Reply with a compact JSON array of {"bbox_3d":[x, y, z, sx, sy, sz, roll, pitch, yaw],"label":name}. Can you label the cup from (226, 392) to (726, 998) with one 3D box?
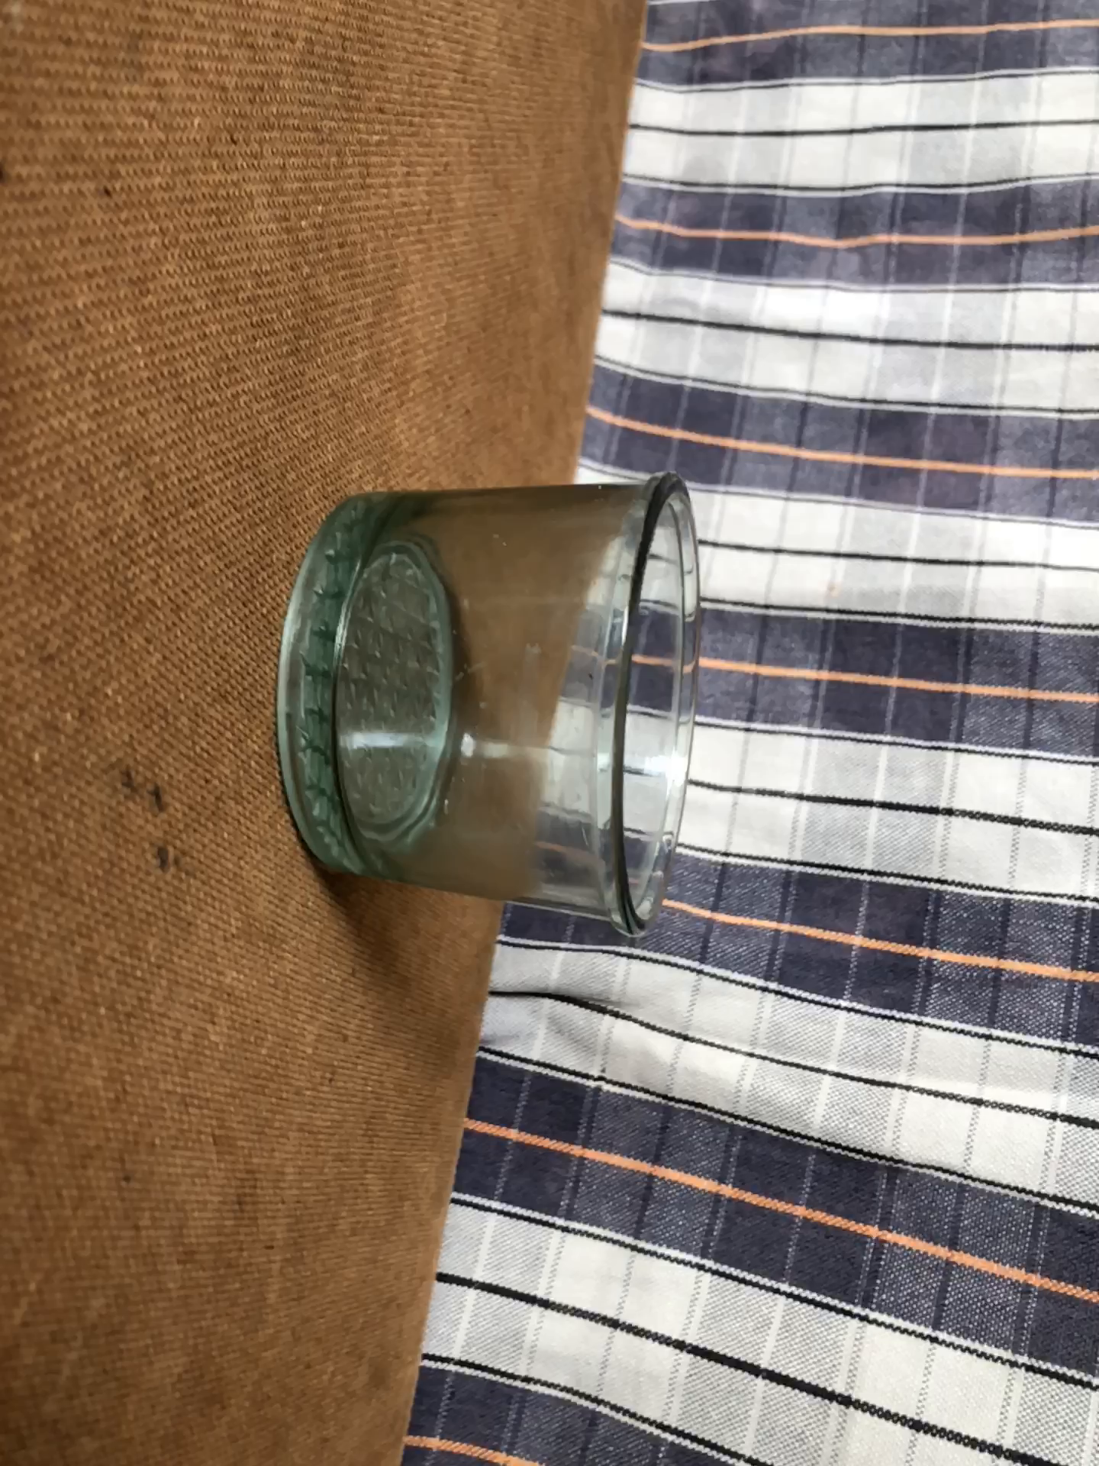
[{"bbox_3d":[-0.004,-0.010,0.220,0.080,0.060,0.070,-71,160,-47],"label":"cup"}]
